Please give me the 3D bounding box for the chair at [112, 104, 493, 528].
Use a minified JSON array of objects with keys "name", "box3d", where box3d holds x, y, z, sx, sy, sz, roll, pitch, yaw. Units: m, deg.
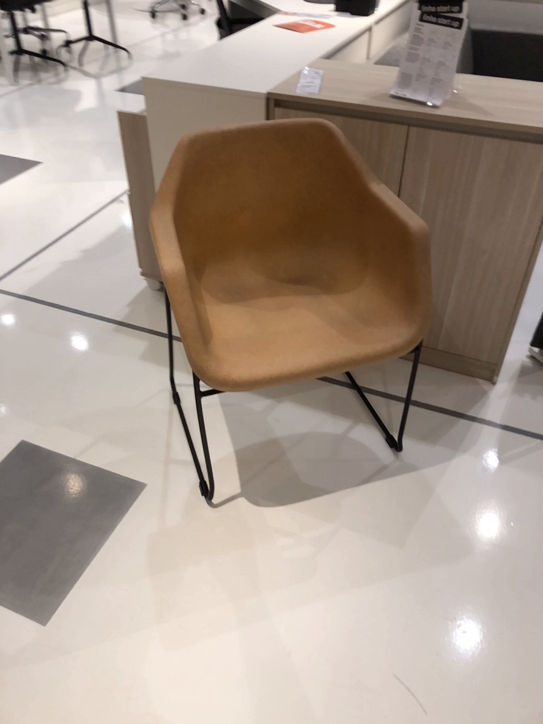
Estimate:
[{"name":"chair","box3d":[0.020,-0.132,1.411,0.591,0.704,0.574,-13,41,-15]}]
